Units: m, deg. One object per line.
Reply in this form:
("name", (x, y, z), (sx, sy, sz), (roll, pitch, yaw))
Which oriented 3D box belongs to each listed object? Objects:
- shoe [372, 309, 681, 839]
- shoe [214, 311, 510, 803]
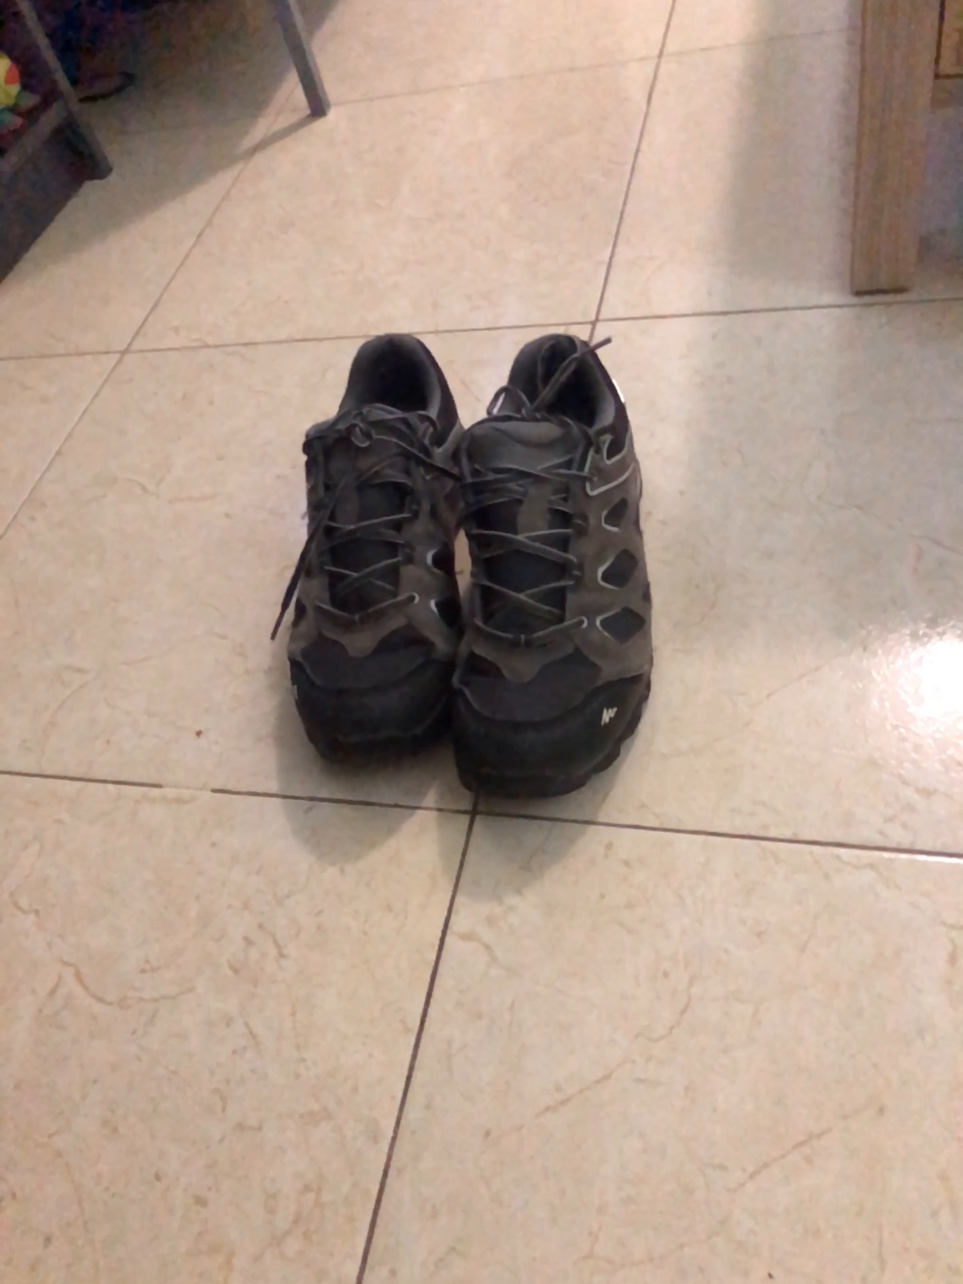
("shoe", (0.044, -0.052, 0.629), (0.120, 0.110, 0.311), (-1, 51, 16))
("shoe", (-0.058, -0.065, 0.679), (0.120, 0.110, 0.311), (-6, 50, 12))
